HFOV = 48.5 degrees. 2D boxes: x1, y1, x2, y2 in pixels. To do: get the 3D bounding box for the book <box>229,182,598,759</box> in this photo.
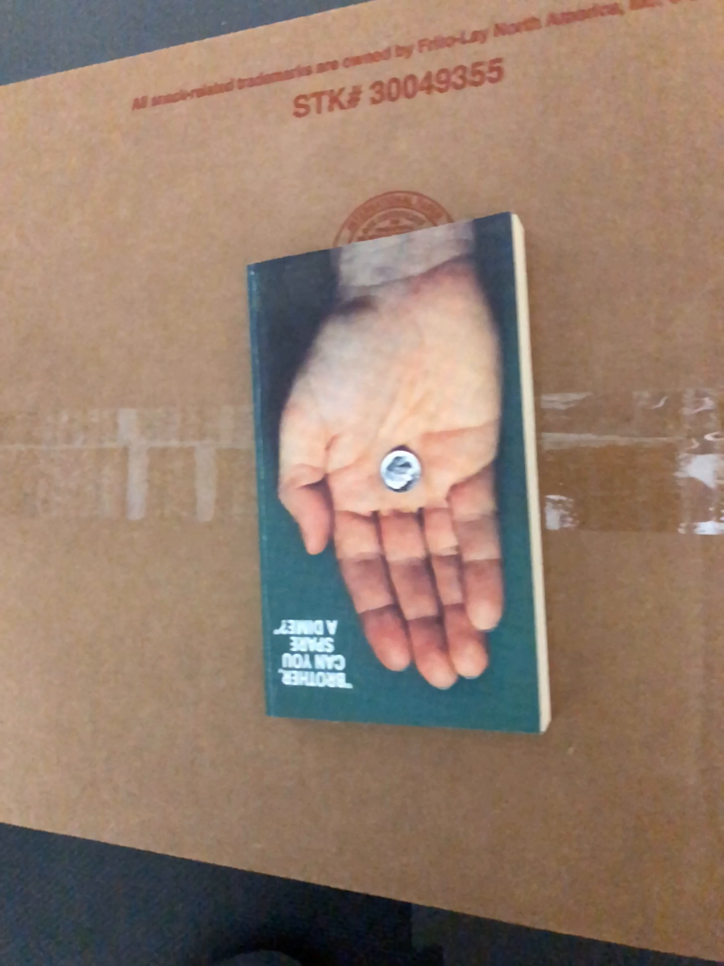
[{"bbox_3d":[0.014,-0.002,0.282,0.120,0.020,0.180,-3,88,21],"label":"book"}]
